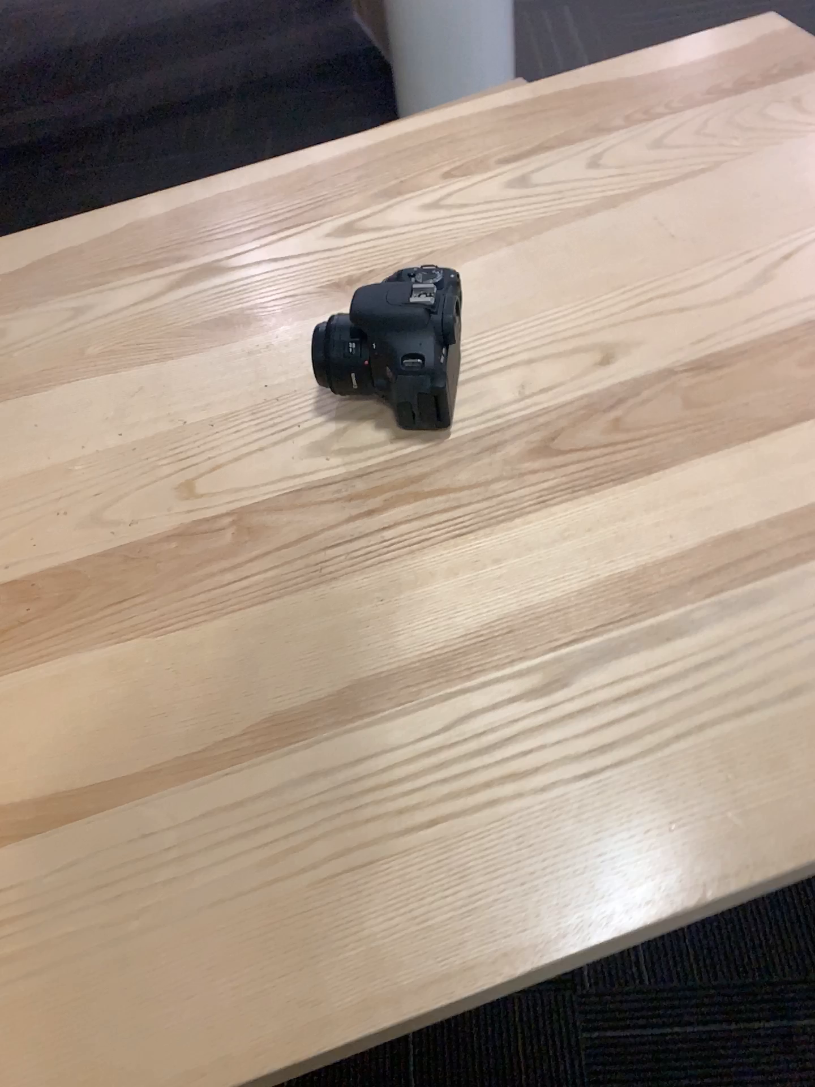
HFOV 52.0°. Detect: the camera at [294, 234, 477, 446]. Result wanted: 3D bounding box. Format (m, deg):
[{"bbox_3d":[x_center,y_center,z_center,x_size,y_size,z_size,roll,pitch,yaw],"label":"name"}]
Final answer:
[{"bbox_3d":[-0.010,-0.166,0.683,0.120,0.100,0.145,1,49,9],"label":"camera"}]
